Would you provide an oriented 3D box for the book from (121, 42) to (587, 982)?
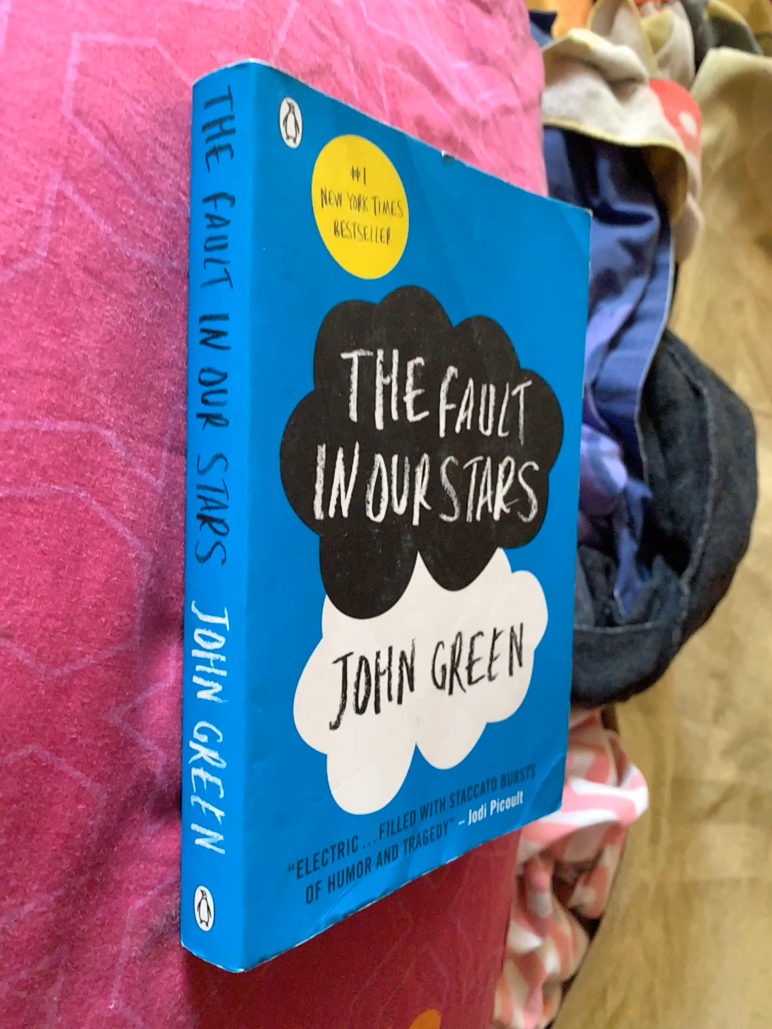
[{"bbox_3d":[0.002,-0.002,0.211,0.130,0.030,0.179,-2,89,-46],"label":"book"}]
